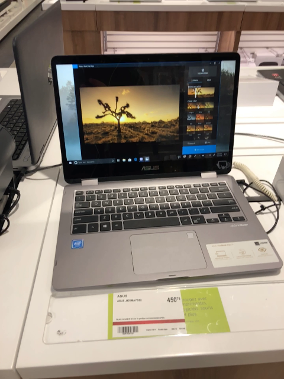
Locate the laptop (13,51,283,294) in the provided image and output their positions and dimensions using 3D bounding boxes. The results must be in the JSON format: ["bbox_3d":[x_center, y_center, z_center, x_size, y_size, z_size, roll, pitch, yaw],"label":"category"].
[{"bbox_3d":[0.029,-0.052,0.470,0.319,0.211,0.291,-4,39,-7],"label":"laptop"}]
